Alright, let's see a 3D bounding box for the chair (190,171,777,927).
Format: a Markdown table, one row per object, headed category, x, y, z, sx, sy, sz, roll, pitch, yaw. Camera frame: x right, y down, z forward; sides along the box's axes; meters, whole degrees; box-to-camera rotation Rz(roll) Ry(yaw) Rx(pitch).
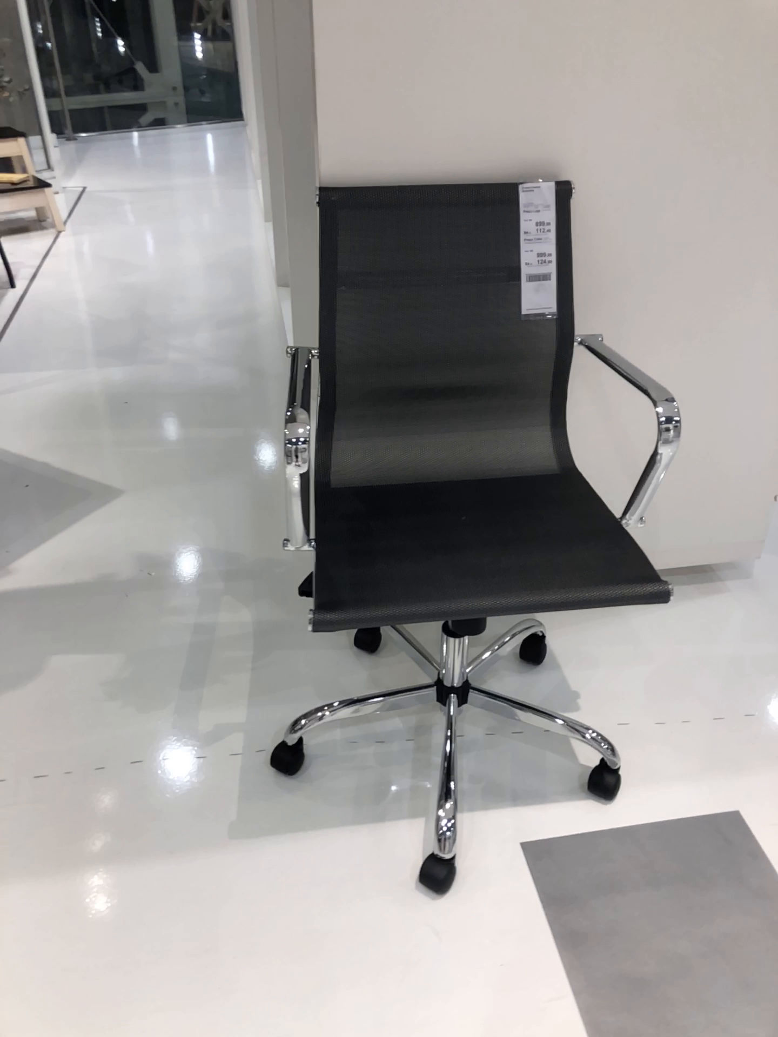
| category | x | y | z | sx | sy | sz | roll | pitch | yaw |
| --- | --- | --- | --- | --- | --- | --- | --- | --- | --- |
| chair | 0.085 | 0.019 | 1.315 | 0.620 | 0.903 | 0.655 | -4 | 33 | -7 |
